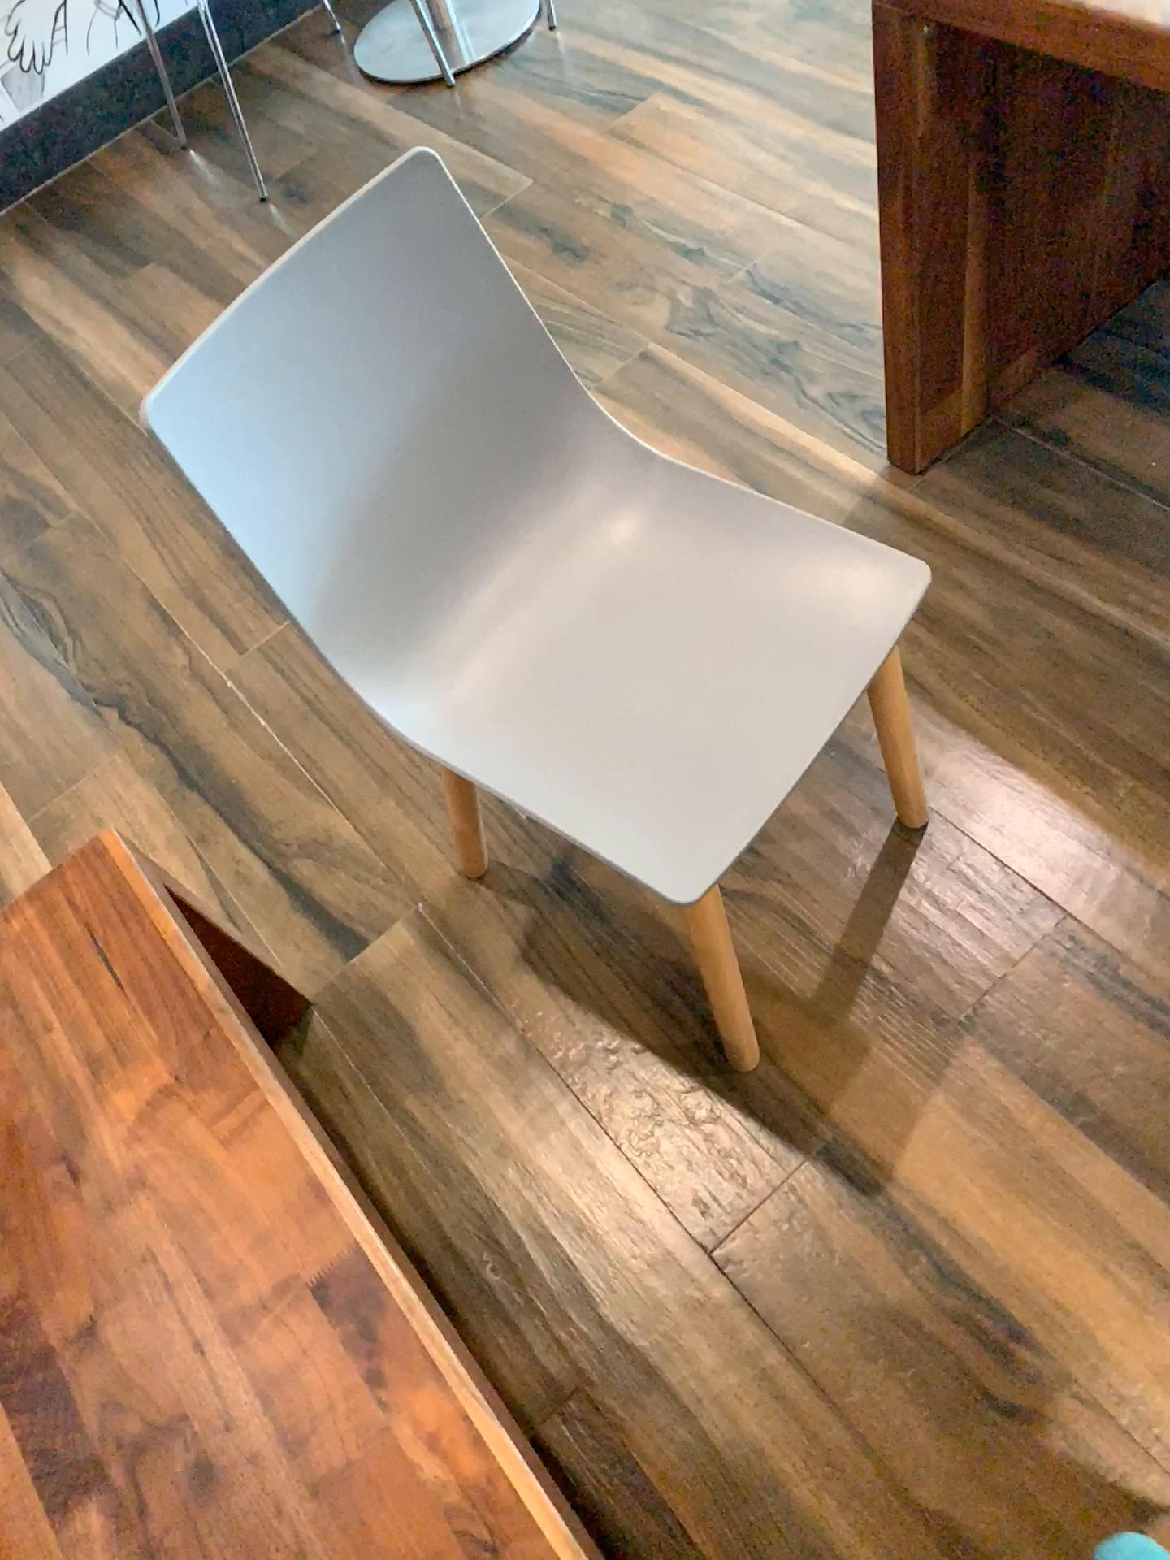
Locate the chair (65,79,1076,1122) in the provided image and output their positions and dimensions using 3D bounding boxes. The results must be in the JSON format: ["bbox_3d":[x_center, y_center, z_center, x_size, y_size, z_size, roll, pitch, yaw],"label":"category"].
[{"bbox_3d":[0.042,-0.139,1.142,0.563,0.695,0.501,32,72,30],"label":"chair"}]
